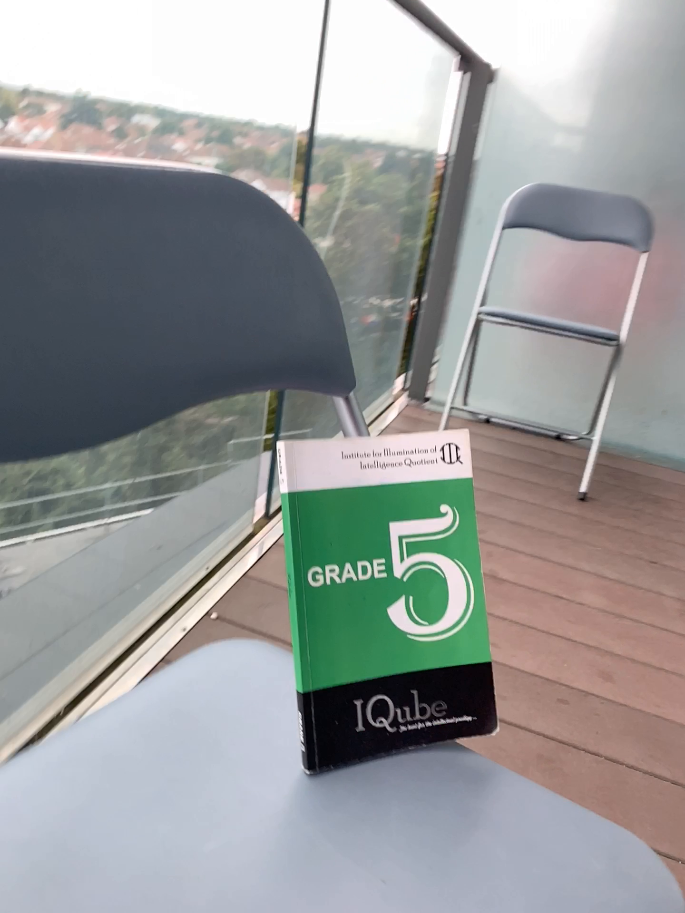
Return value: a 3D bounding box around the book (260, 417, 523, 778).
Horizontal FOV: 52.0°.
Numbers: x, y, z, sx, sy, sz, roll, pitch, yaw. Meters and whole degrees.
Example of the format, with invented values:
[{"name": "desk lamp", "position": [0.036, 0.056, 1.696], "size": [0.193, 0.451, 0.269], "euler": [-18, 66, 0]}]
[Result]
[{"name": "book", "position": [0.033, 0.085, 0.476], "size": [0.150, 0.210, 0.040], "euler": [-5, -6, -20]}]
